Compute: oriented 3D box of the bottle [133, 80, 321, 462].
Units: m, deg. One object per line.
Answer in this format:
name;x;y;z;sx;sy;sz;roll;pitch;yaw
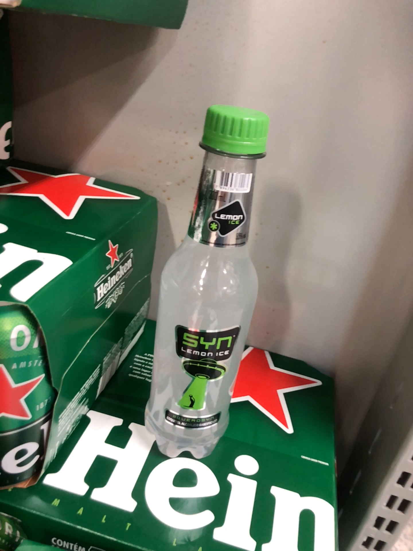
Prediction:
bottle;0.000;0.008;0.261;0.060;0.208;0.060;8;28;-4
